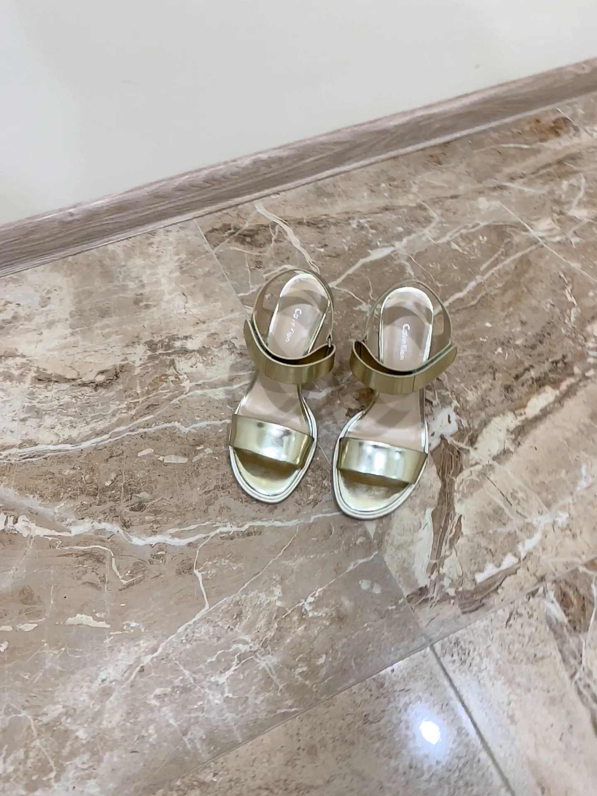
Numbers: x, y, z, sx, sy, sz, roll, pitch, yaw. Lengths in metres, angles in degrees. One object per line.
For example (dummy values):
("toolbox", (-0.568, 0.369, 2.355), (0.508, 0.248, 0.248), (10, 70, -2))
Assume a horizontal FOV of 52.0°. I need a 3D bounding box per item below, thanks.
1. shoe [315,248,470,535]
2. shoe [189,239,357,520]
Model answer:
("shoe", (0.090, -0.010, 0.578), (0.100, 0.120, 0.231), (11, 58, 6))
("shoe", (-0.016, -0.020, 0.585), (0.095, 0.130, 0.221), (11, 58, 6))
